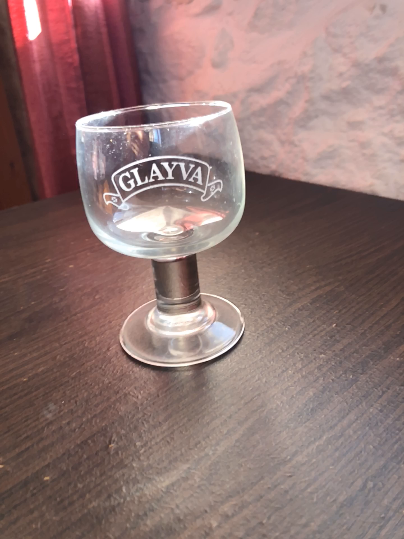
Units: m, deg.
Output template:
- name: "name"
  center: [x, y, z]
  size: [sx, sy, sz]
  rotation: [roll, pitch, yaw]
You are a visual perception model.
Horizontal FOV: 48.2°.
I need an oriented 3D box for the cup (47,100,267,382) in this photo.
- name: "cup"
  center: [-0.016, -0.020, 0.221]
  size: [0.077, 0.107, 0.086]
  rotation: [-6, 24, -4]
